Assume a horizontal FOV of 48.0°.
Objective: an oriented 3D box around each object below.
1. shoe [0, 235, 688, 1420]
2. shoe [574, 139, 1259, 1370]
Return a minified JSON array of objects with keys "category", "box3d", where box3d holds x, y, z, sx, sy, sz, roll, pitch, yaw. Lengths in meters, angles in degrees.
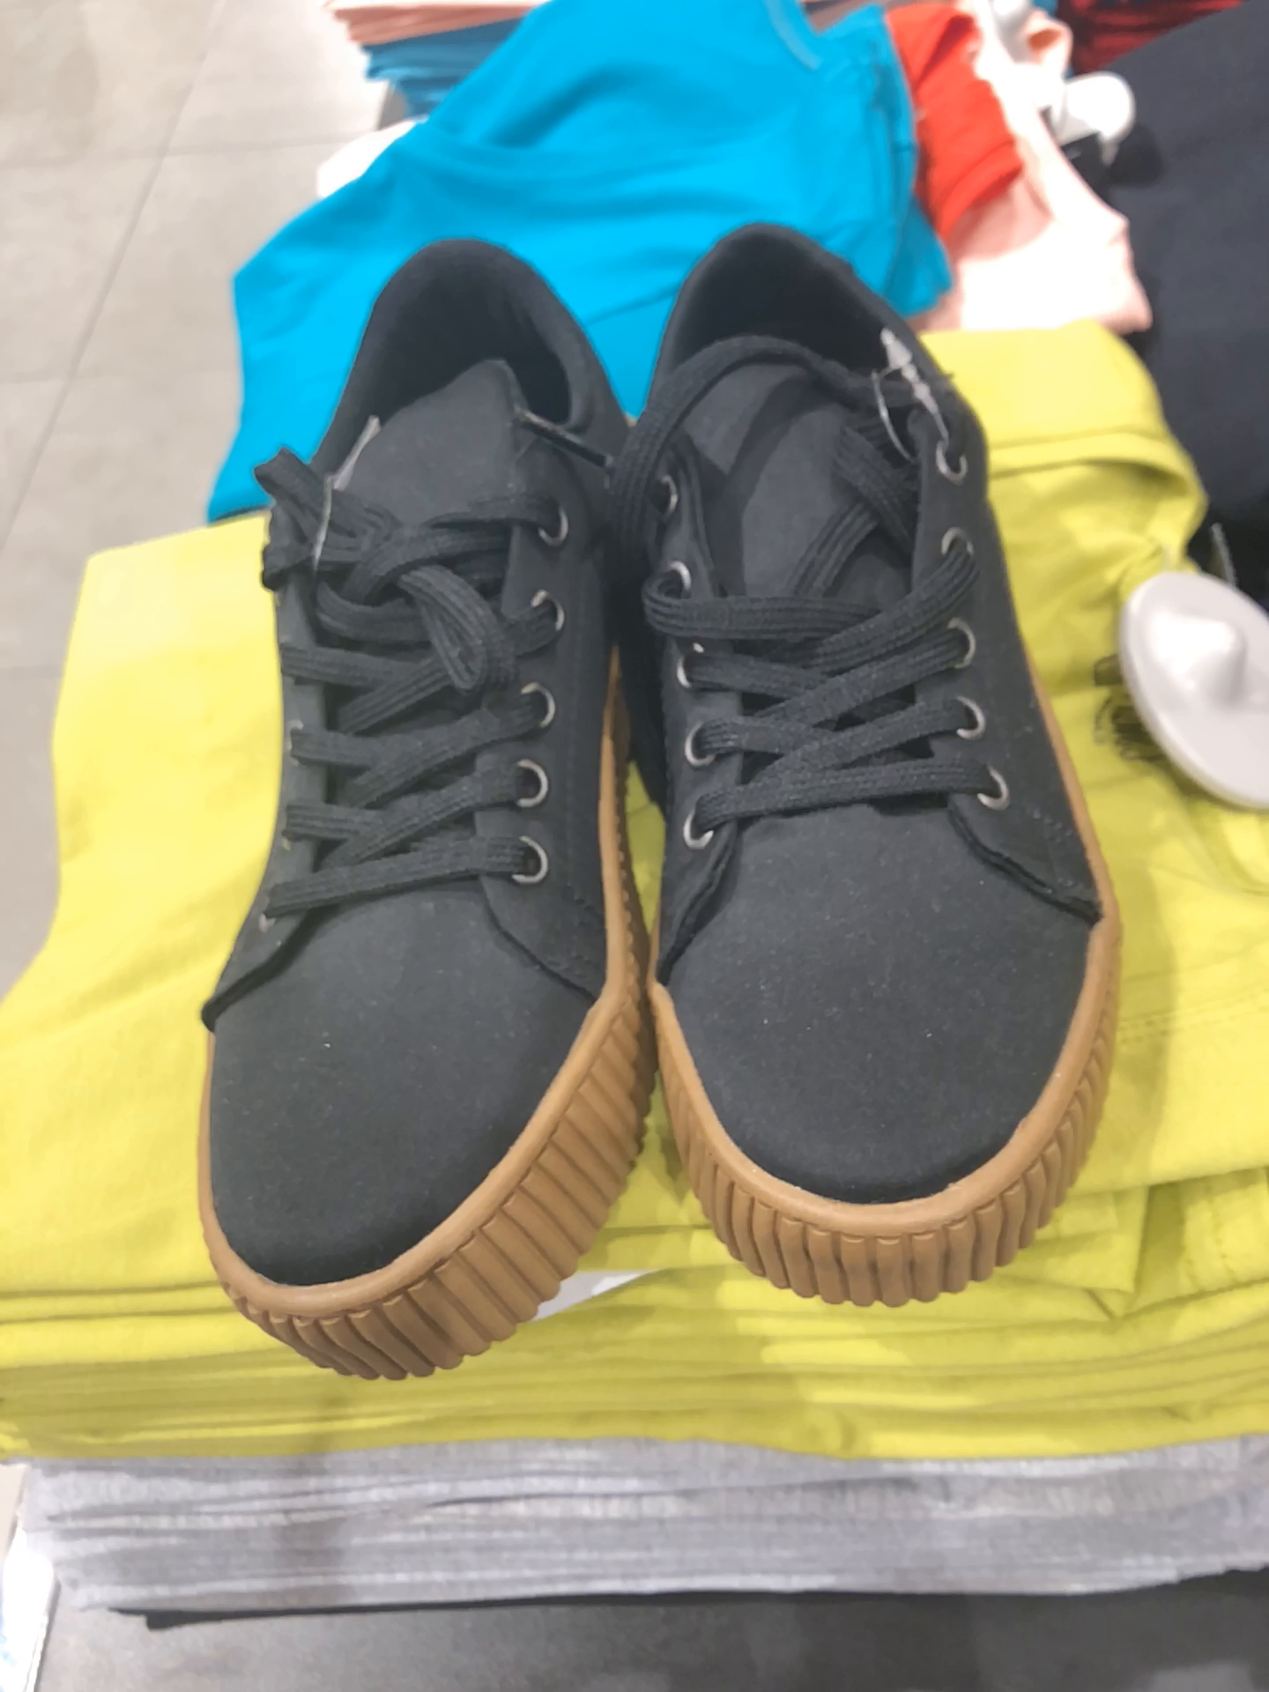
[{"category":"shoe","box3d":[-0.043,-0.014,0.291,0.090,0.080,0.231,-3,56,10]},{"category":"shoe","box3d":[0.041,-0.031,0.289,0.090,0.080,0.241,-6,56,8]}]
